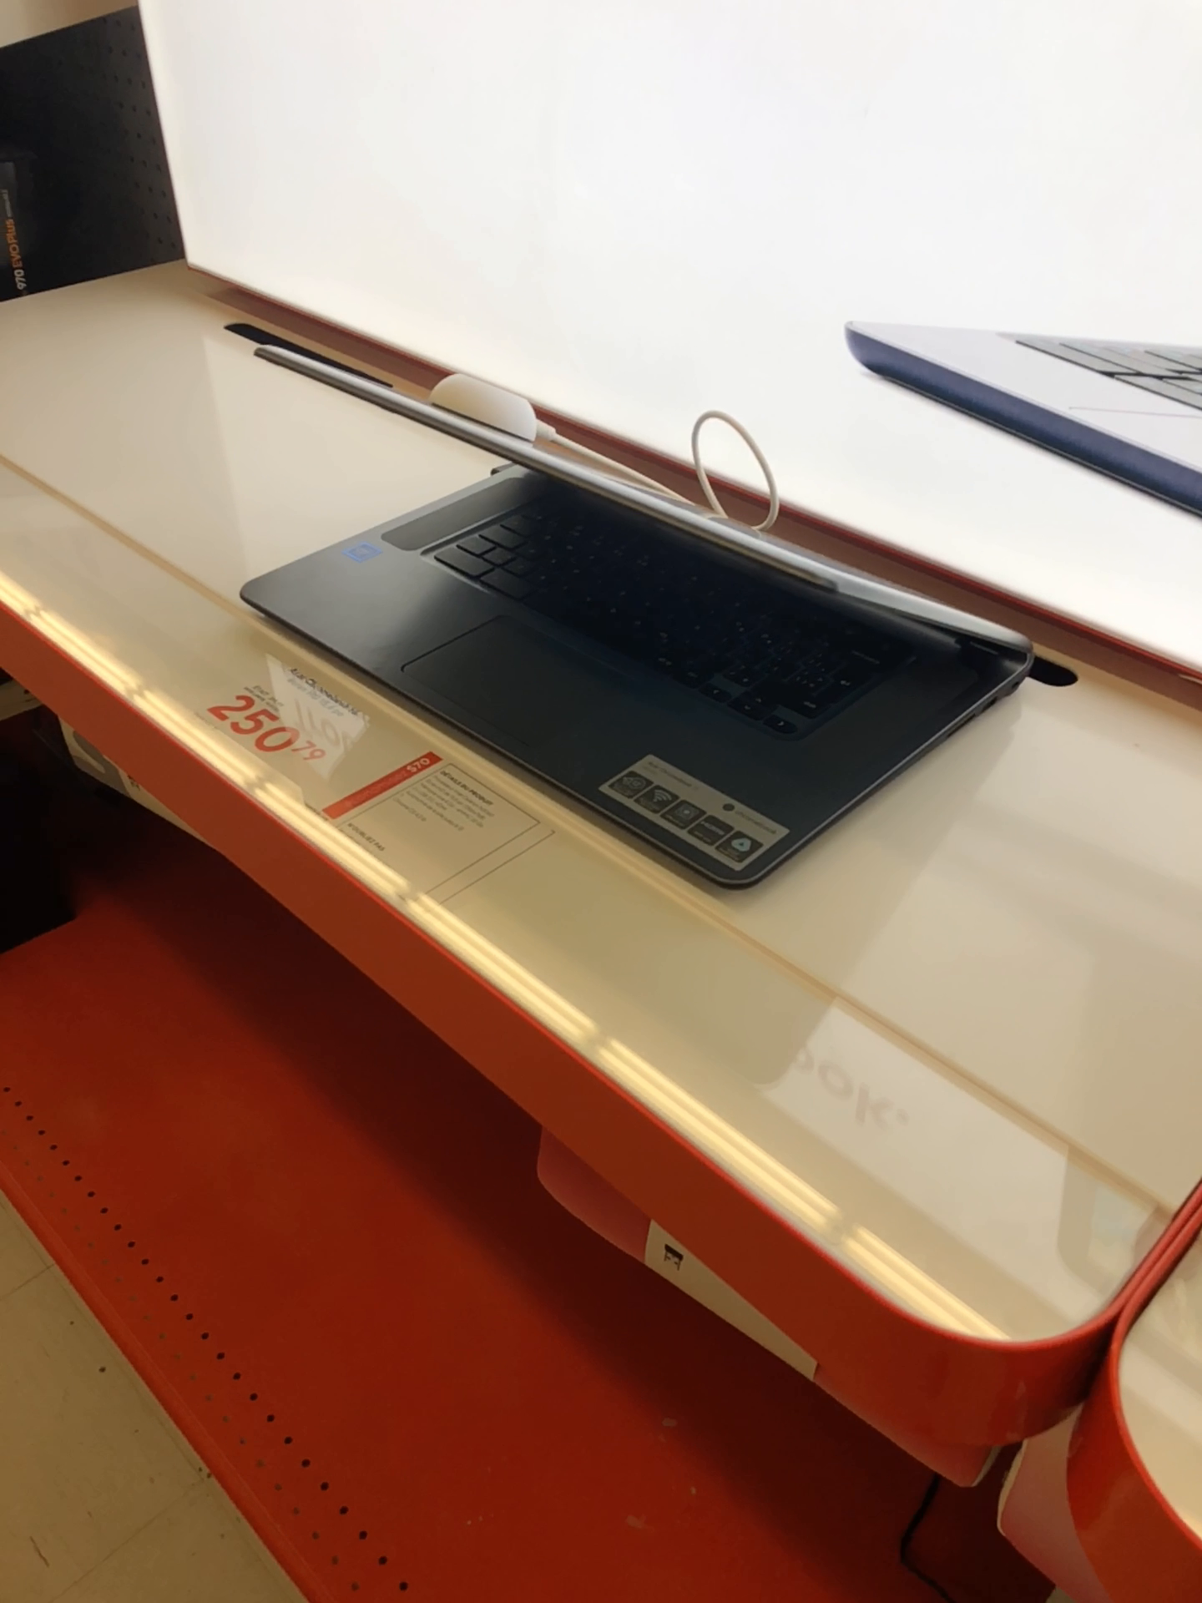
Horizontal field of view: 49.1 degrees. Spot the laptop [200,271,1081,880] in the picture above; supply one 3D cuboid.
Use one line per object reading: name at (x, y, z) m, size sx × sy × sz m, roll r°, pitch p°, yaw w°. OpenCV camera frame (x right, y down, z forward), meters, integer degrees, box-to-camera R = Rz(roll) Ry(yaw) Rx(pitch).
laptop at (0.008, -0.147, 0.676) m, size 0.364 × 0.122 × 0.238 m, roll 30°, pitch 47°, yaw 33°
